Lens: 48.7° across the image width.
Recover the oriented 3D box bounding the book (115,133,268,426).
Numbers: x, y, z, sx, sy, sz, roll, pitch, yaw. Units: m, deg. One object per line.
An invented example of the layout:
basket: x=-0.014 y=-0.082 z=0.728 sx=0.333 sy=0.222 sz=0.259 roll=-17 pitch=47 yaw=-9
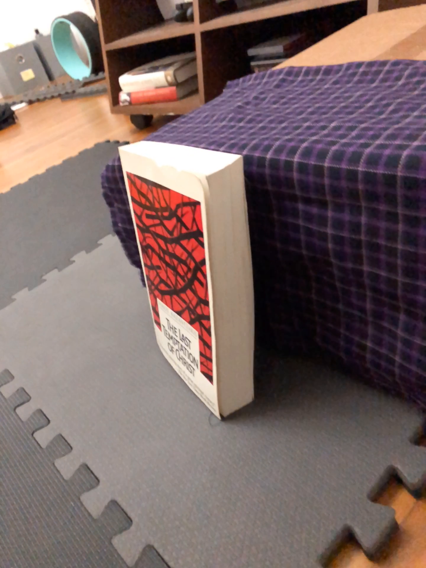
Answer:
book: x=-0.021 y=-0.013 z=0.408 sx=0.050 sy=0.209 sz=0.151 roll=-17 pitch=26 yaw=-18
